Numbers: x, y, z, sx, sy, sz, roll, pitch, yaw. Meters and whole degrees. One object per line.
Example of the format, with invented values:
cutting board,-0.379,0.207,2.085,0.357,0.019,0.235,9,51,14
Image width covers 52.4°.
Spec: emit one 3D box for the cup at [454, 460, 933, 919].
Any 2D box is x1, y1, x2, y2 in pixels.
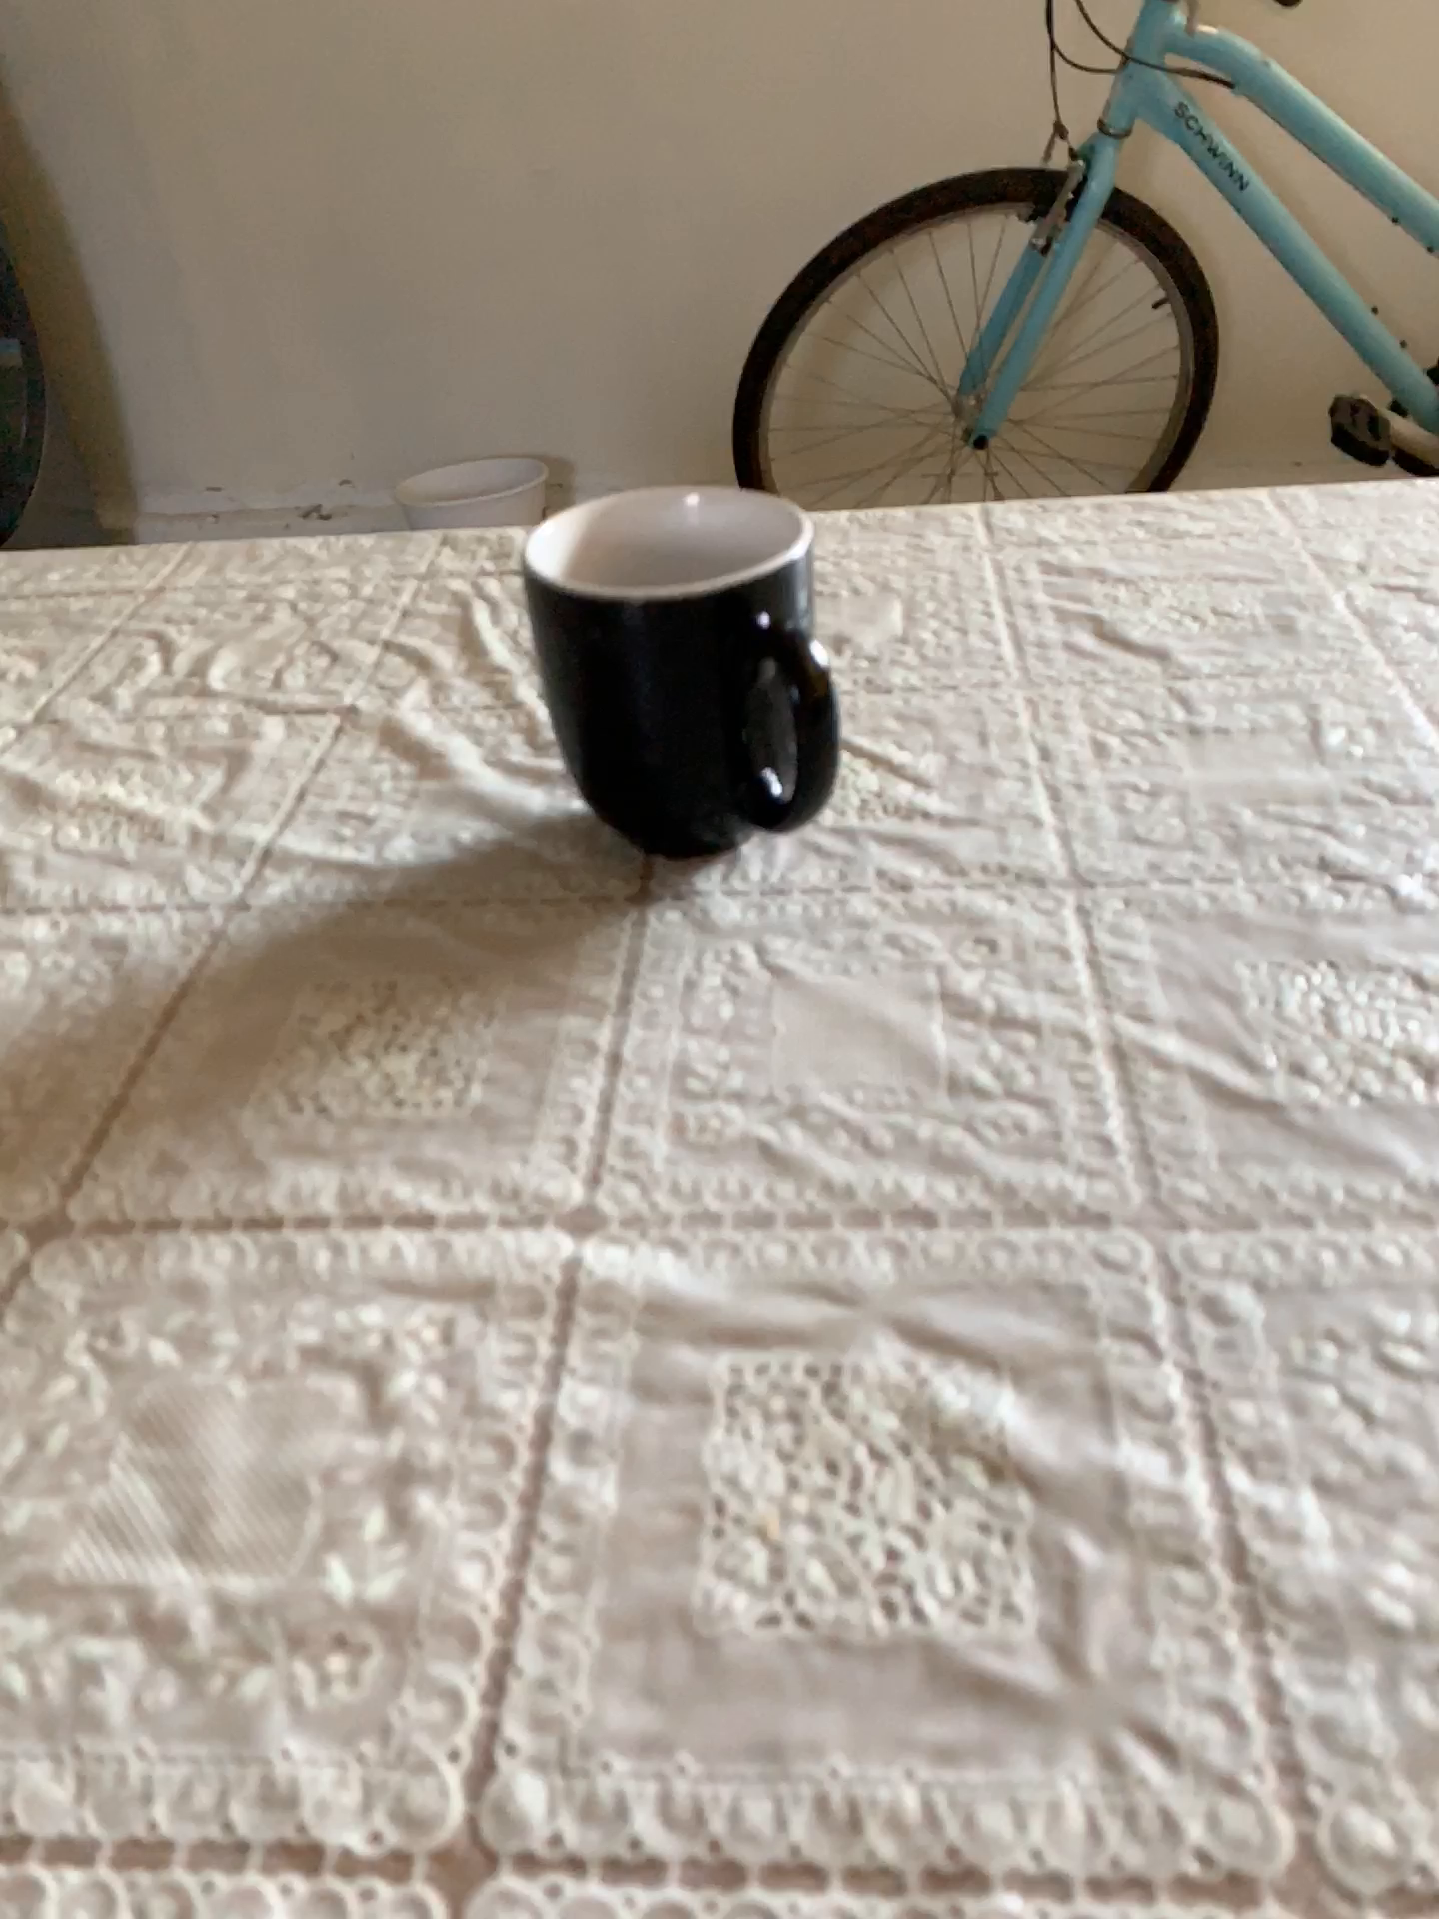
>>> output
cup,-0.009,-0.094,0.478,0.090,0.090,0.131,-26,39,-25
